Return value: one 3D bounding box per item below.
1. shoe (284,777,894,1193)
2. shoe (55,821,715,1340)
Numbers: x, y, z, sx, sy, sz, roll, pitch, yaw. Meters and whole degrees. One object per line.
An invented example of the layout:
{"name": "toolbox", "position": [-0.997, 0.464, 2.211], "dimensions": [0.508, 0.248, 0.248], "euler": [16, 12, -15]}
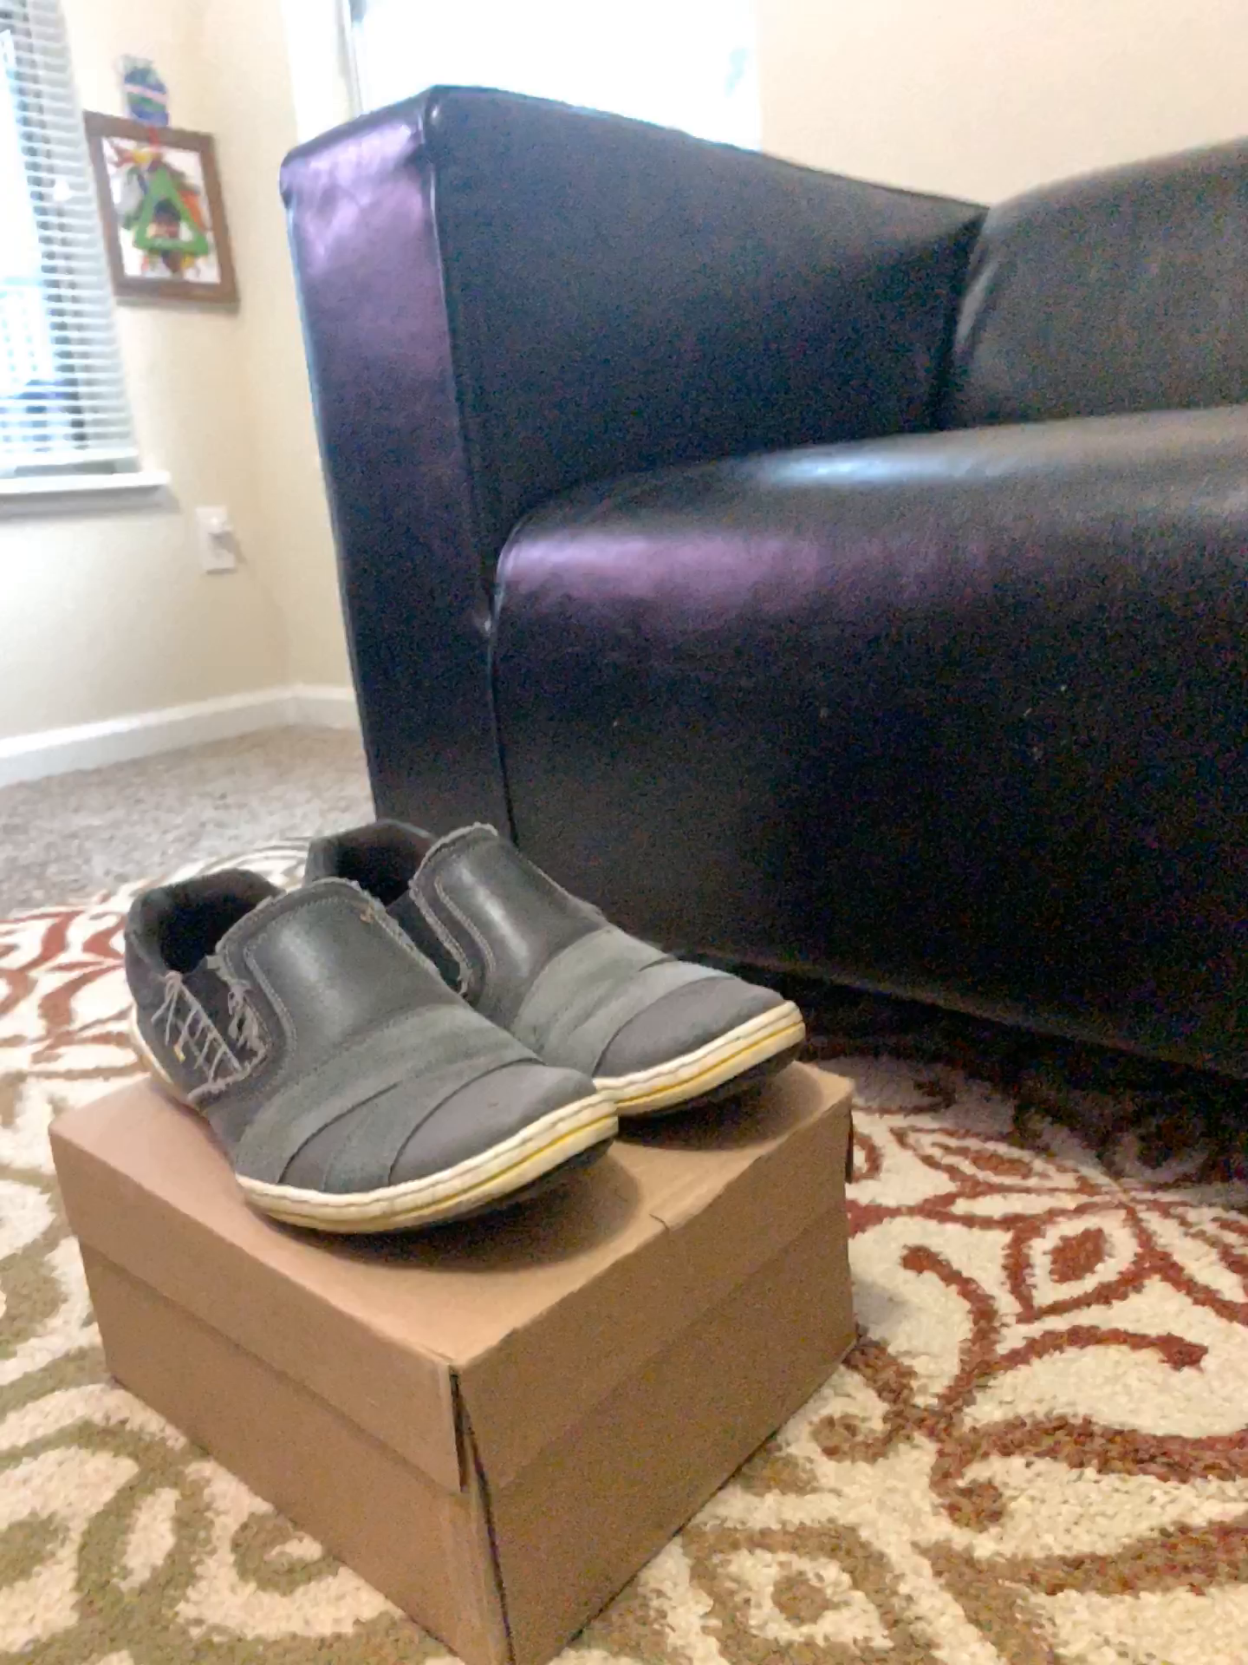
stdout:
{"name": "shoe", "position": [-0.026, 0.050, 0.595], "dimensions": [0.140, 0.100, 0.261], "euler": [-16, 18, -39]}
{"name": "shoe", "position": [-0.108, 0.075, 0.525], "dimensions": [0.140, 0.100, 0.261], "euler": [-16, 18, -39]}
